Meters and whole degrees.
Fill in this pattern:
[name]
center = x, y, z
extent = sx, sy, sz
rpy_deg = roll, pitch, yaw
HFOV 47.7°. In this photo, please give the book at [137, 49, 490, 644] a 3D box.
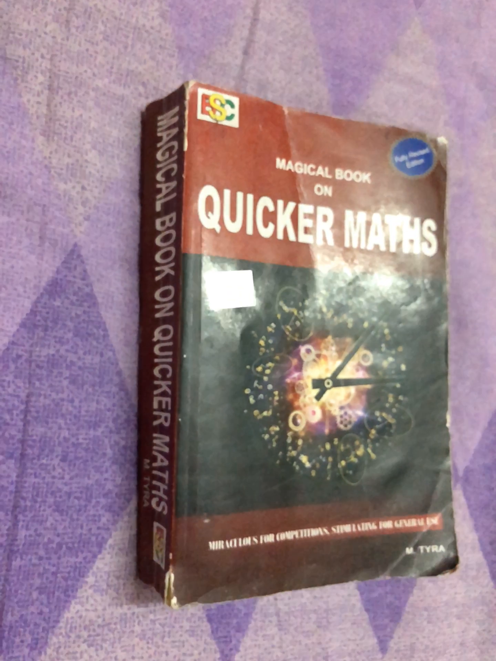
[book]
center = 0.031, 0.006, 0.259
extent = 0.150, 0.050, 0.220
rpy_deg = 3, 84, -23
